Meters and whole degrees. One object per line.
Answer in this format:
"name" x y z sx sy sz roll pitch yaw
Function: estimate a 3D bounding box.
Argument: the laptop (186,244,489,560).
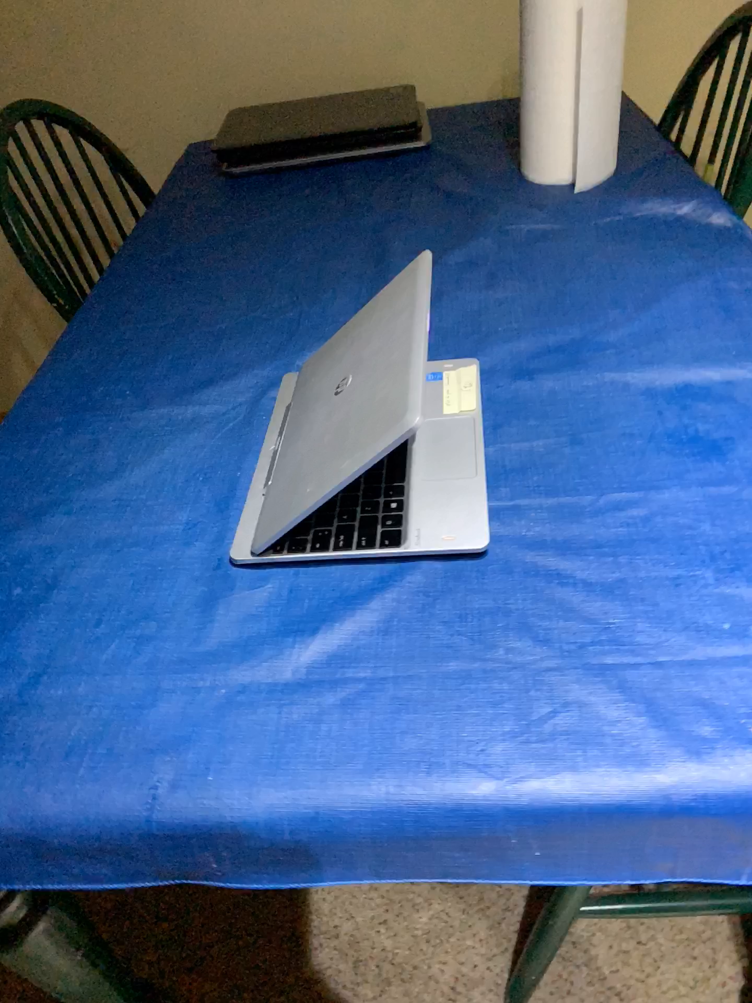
"laptop" -0.014 -0.097 0.671 0.207 0.122 0.282 -3 40 9
